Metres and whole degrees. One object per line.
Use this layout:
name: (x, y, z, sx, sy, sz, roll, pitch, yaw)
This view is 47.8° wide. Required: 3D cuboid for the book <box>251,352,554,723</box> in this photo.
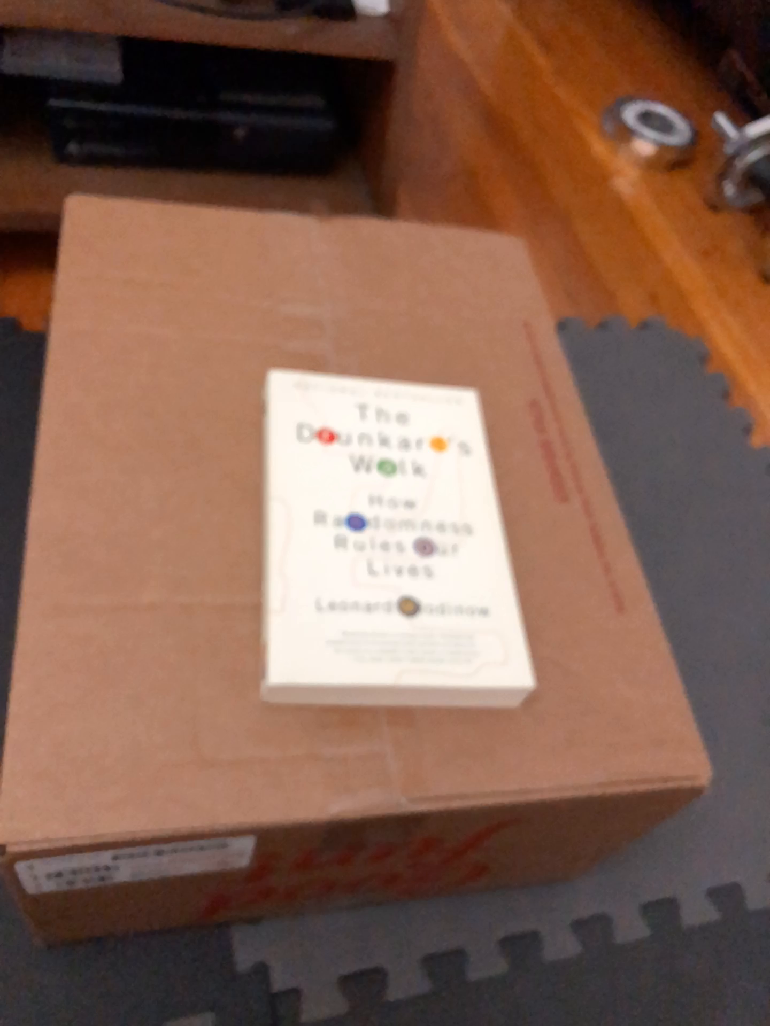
book: (-0.001, 0.007, 0.476, 0.140, 0.040, 0.211, 3, 53, -13)
